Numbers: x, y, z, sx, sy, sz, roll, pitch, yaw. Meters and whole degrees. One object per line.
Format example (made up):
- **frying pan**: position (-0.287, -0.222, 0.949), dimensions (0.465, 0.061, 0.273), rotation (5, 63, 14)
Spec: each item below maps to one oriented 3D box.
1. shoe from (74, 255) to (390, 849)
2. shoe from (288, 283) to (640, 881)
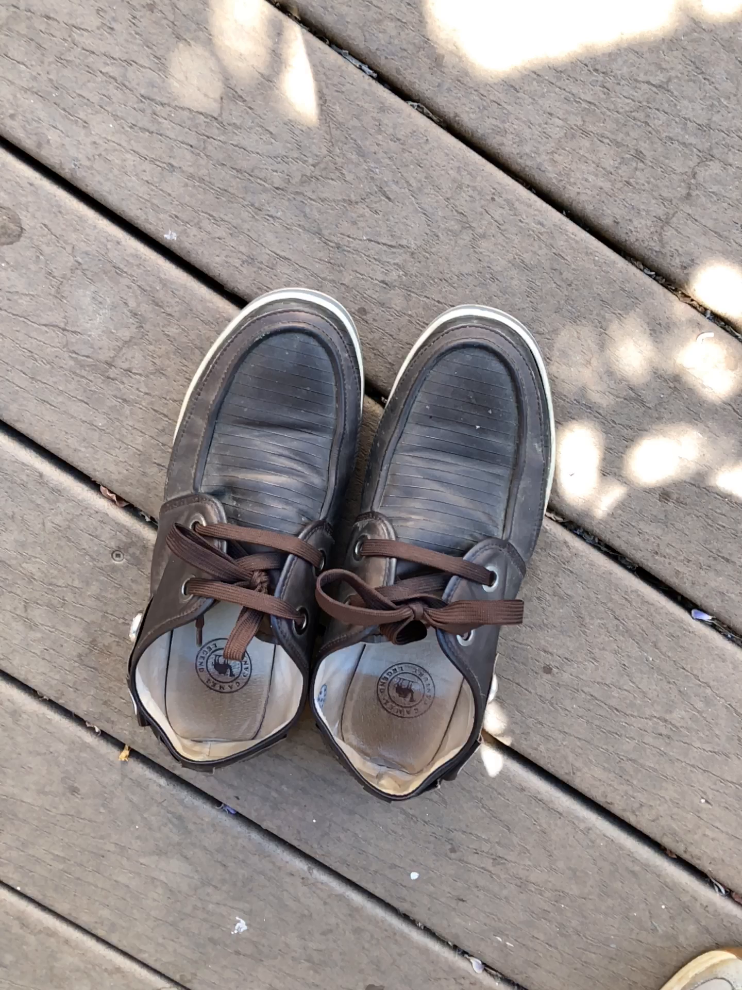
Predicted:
- **shoe**: position (-0.073, 0.027, 0.456), dimensions (0.107, 0.115, 0.288), rotation (12, 104, -1)
- **shoe**: position (0.040, 0.043, 0.446), dimensions (0.107, 0.105, 0.289), rotation (12, 104, -1)
